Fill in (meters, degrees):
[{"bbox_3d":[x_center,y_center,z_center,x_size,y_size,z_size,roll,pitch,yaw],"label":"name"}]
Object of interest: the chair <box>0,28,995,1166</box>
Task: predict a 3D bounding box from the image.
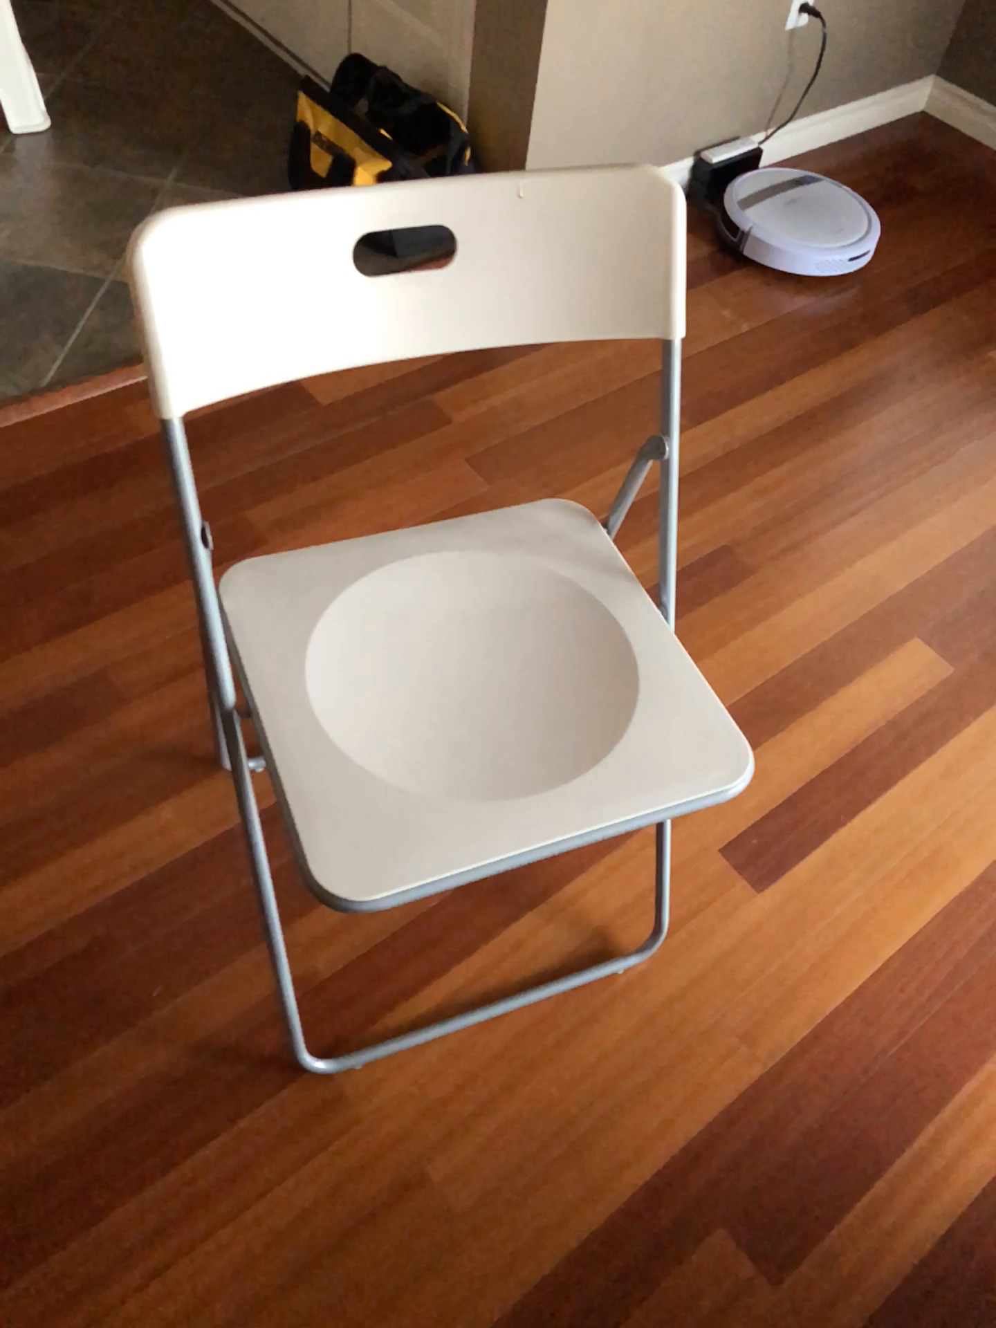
[{"bbox_3d":[-0.066,-0.048,0.826,0.460,0.577,0.543,-13,55,-18],"label":"chair"}]
